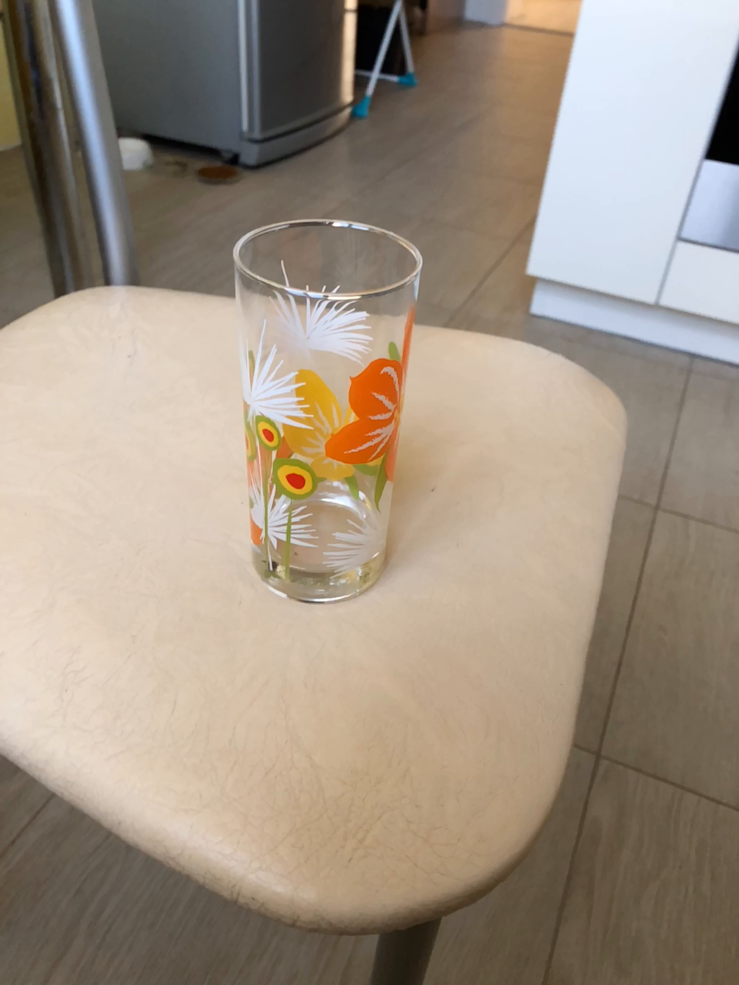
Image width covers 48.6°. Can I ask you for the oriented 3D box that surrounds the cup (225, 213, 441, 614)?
[{"bbox_3d":[-0.017,-0.025,0.303,0.063,0.133,0.061,4,37,-3],"label":"cup"}]
